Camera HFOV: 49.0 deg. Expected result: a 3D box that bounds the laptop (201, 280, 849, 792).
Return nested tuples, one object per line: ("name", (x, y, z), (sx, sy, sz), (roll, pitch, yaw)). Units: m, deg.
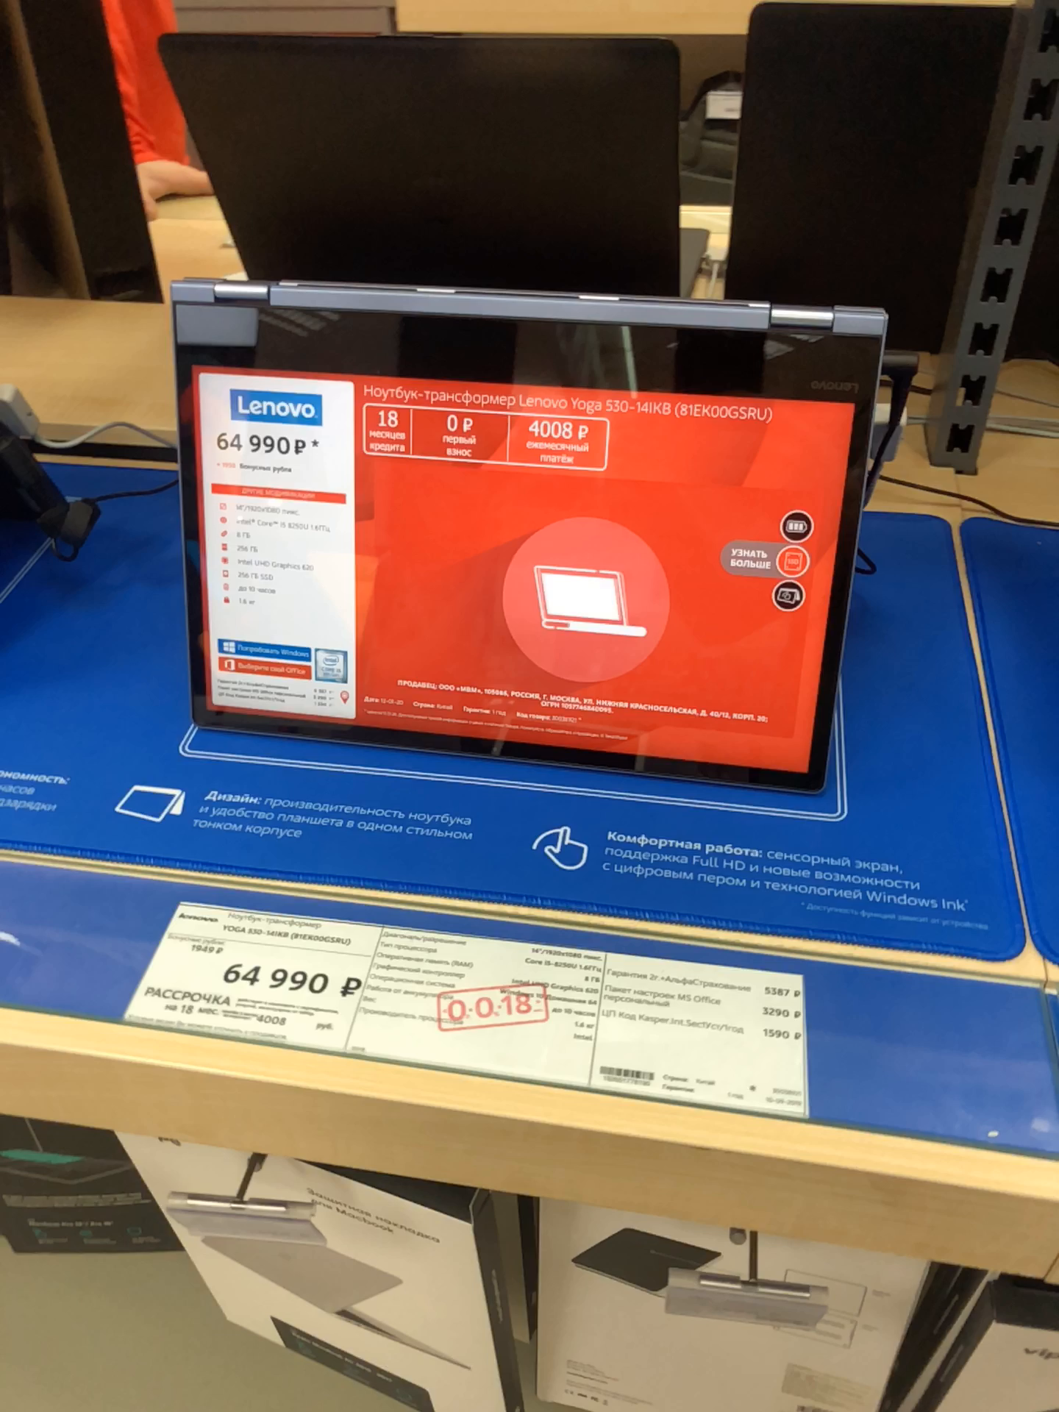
("laptop", (0.009, -0.069, 0.718), (0.305, 0.157, 0.221), (5, 3, 5))
